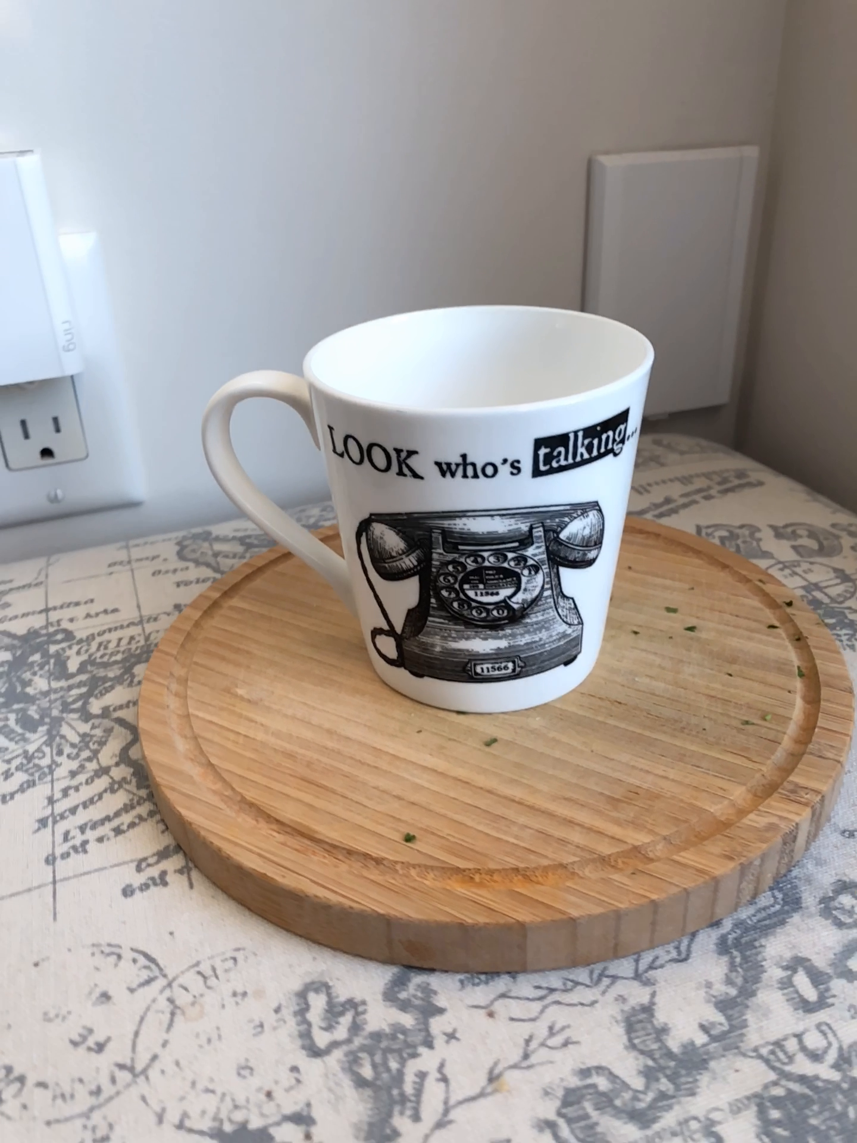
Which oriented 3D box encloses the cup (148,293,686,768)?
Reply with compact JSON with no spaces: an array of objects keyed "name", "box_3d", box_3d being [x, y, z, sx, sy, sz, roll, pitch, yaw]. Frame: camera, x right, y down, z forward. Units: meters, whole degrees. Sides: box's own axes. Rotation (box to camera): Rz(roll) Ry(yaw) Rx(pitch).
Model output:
[{"name":"cup","box_3d":[0.004,-0.020,0.262,0.111,0.086,0.091,9,29,19]}]
